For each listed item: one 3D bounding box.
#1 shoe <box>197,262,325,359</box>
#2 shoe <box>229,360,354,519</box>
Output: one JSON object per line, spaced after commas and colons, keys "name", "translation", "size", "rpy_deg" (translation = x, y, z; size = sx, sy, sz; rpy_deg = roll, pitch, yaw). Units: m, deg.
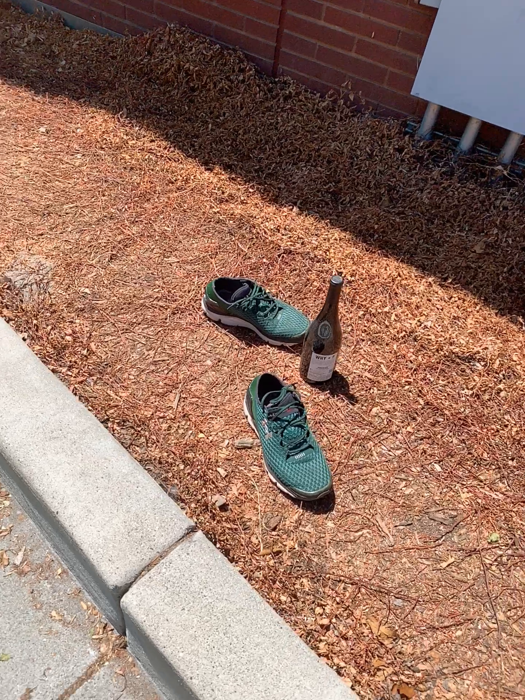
{"name": "shoe", "translation": [-0.006, -0.102, 1.355], "size": [0.290, 0.099, 0.121], "rpy_deg": [21, 49, 8]}
{"name": "shoe", "translation": [0.048, 0.172, 1.093], "size": [0.120, 0.099, 0.291], "rpy_deg": [-15, 54, -22]}
